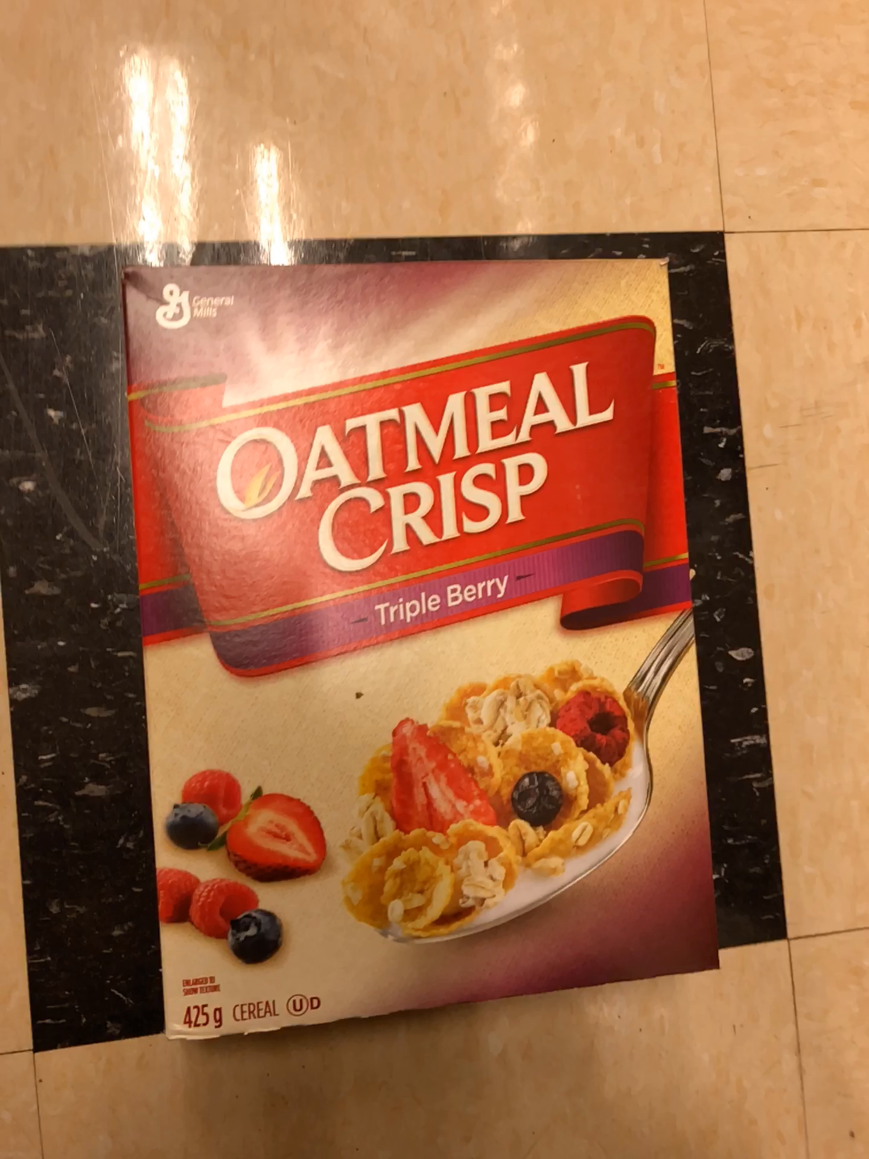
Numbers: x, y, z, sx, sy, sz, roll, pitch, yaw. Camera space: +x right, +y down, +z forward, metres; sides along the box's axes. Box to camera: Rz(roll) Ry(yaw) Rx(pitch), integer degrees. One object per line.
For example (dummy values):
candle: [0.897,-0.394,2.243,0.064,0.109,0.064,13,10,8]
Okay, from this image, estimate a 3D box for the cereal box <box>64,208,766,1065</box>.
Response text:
cereal box: [-0.008,0.010,0.331,0.200,0.070,0.250,-4,87,-8]
